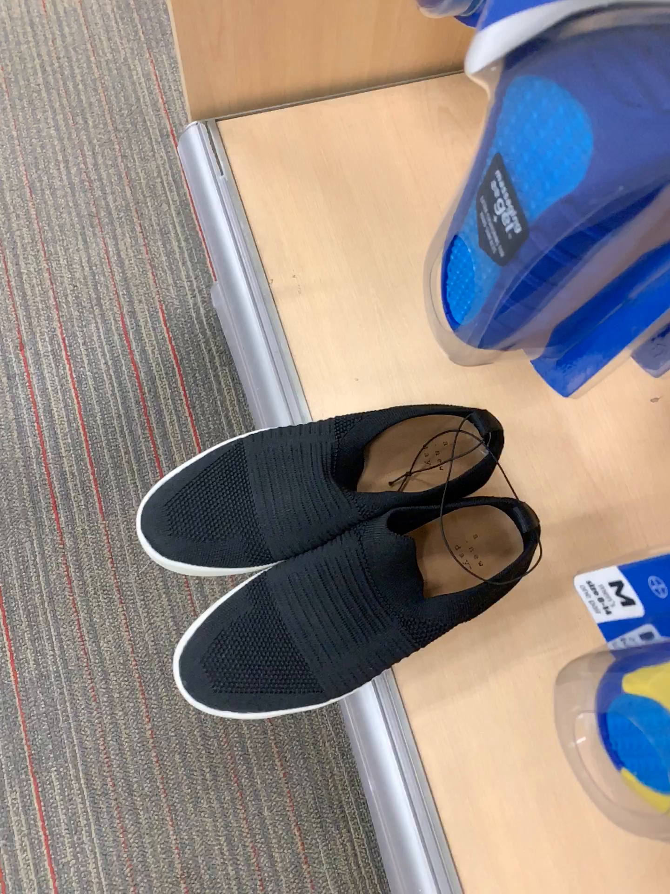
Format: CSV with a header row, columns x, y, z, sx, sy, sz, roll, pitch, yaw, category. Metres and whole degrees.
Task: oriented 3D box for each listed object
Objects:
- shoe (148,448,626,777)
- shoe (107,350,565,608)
x,y,z,sx,sy,sz,roll,pitch,yaw,category
0.031,0.104,0.457,0.270,0.100,0.100,-20,77,-10,shoe
-0.001,0.025,0.476,0.270,0.100,0.100,-13,76,-8,shoe
